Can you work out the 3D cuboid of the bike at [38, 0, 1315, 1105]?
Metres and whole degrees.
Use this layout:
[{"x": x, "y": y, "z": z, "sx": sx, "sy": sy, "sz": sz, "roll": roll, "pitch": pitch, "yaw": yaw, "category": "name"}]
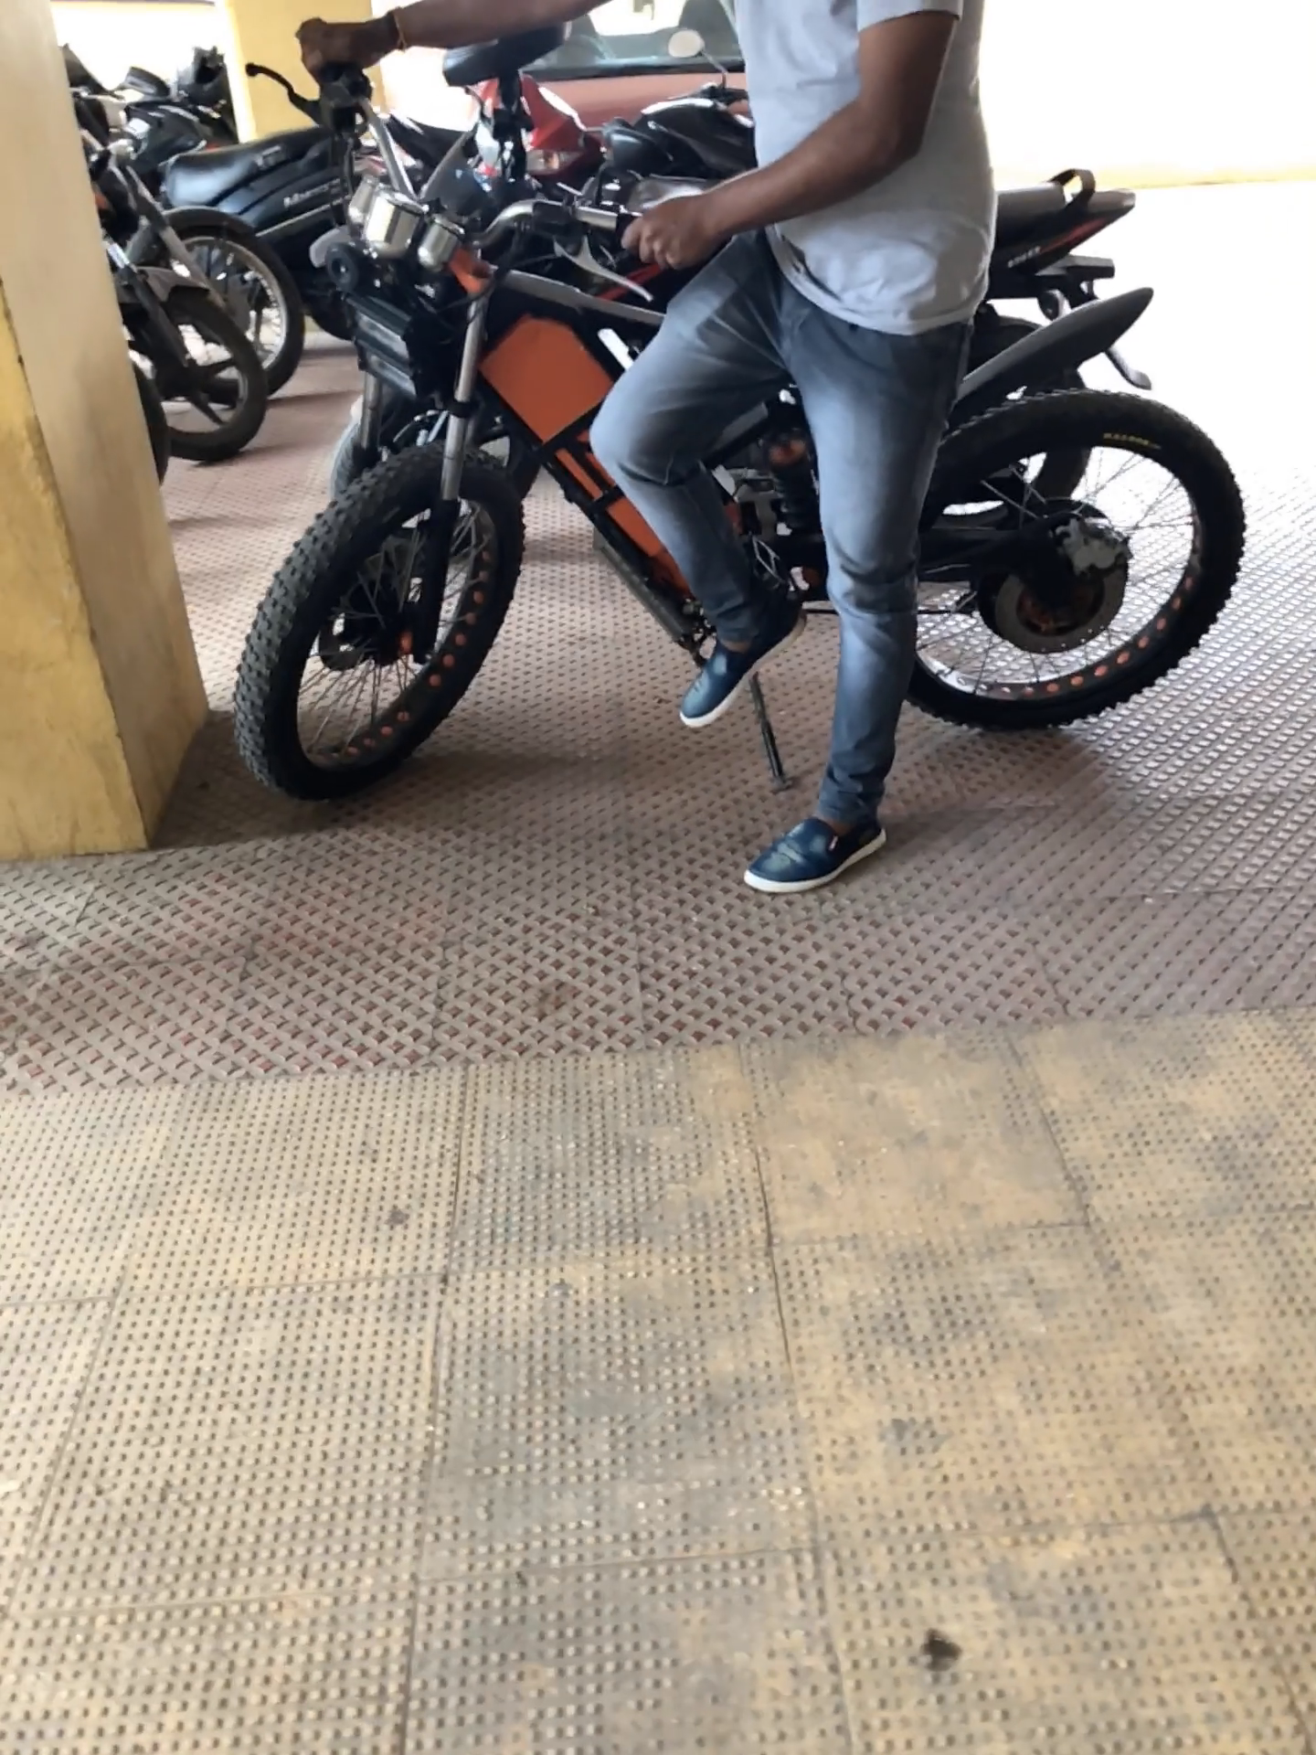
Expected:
[{"x": 0.160, "y": -0.547, "z": 2.265, "sx": 1.747, "sy": 1.184, "sz": 0.758, "roll": -11, "pitch": 32, "yaw": -5, "category": "bike"}]
